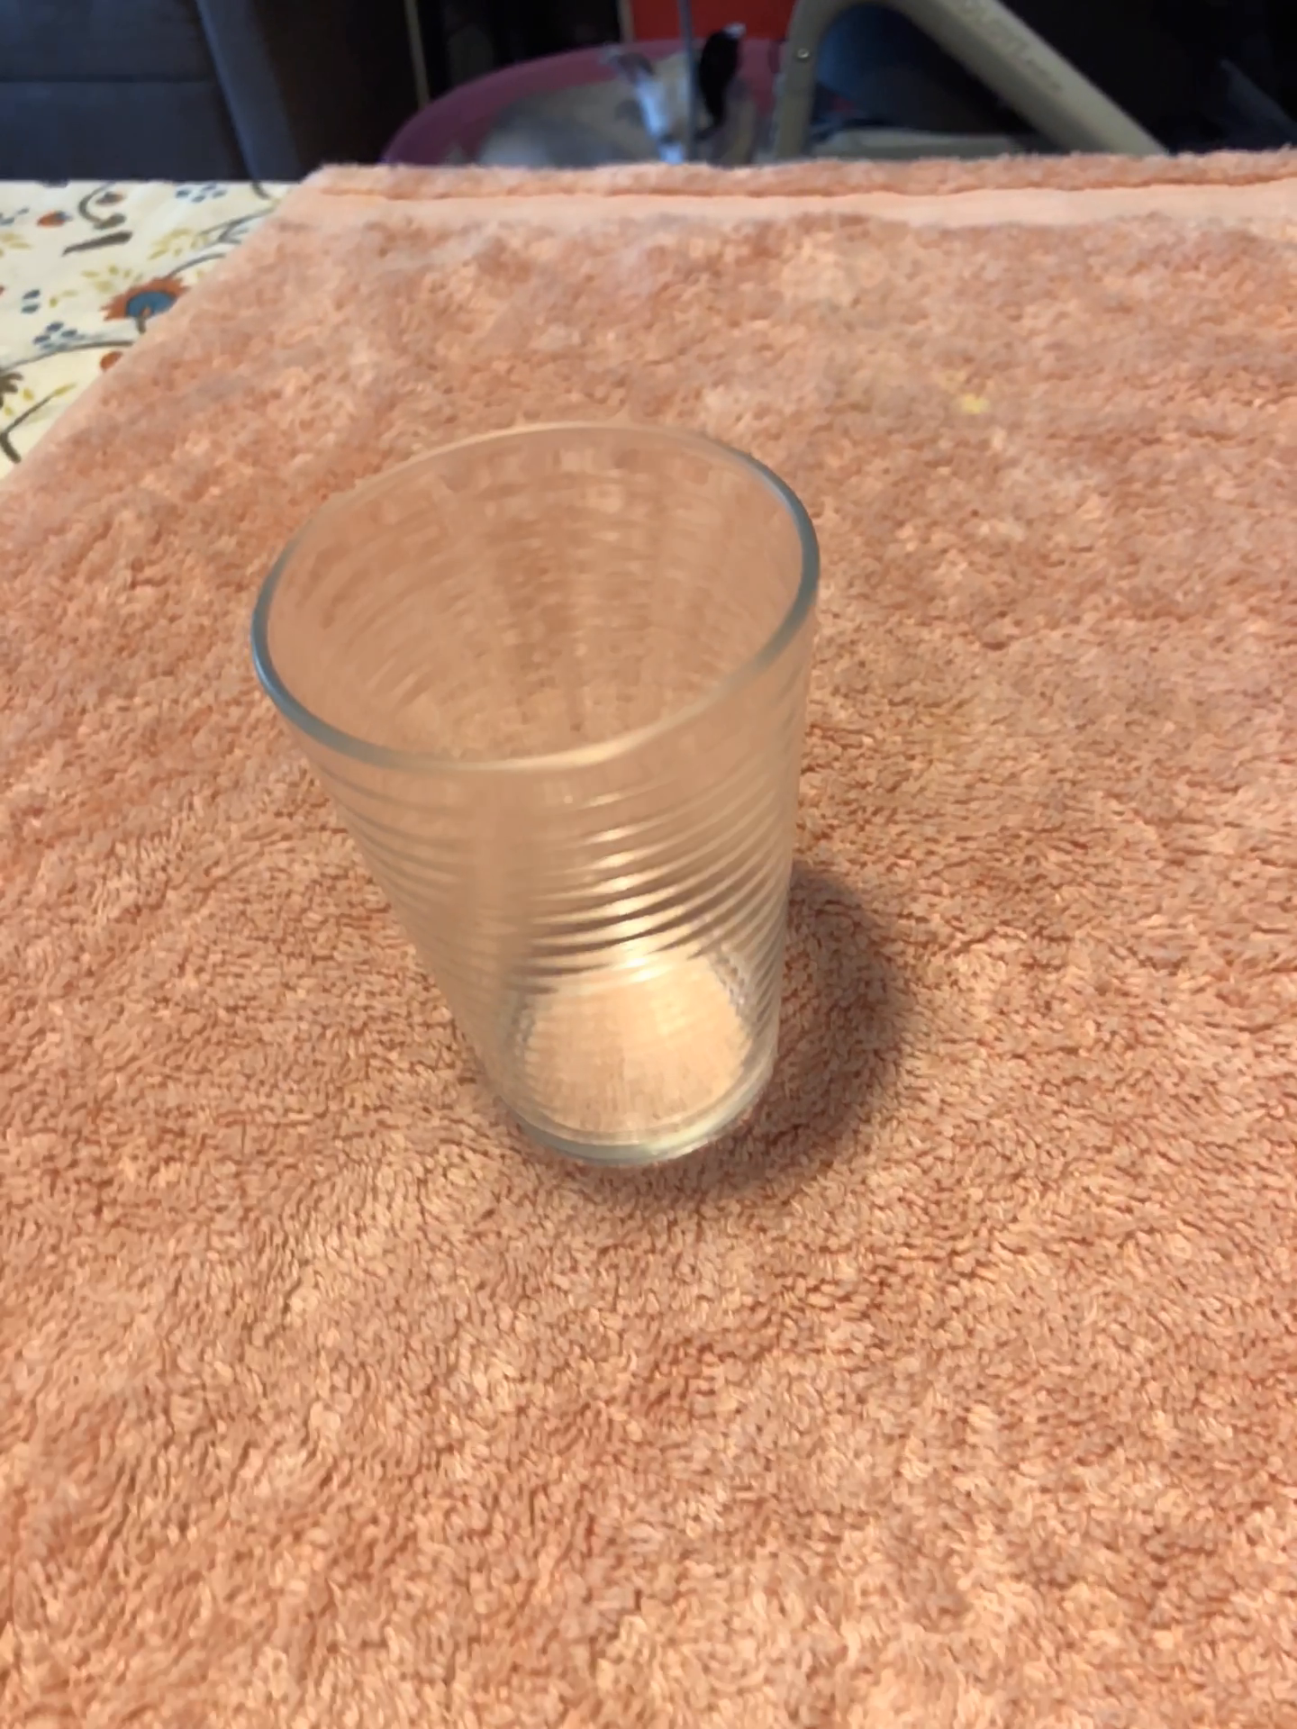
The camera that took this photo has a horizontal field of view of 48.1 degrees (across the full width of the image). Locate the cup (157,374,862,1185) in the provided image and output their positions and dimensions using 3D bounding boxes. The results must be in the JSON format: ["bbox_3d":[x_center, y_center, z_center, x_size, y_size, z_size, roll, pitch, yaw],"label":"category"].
[{"bbox_3d":[-0.008,-0.012,0.222,0.080,0.089,0.081,-4,46,4],"label":"cup"}]
